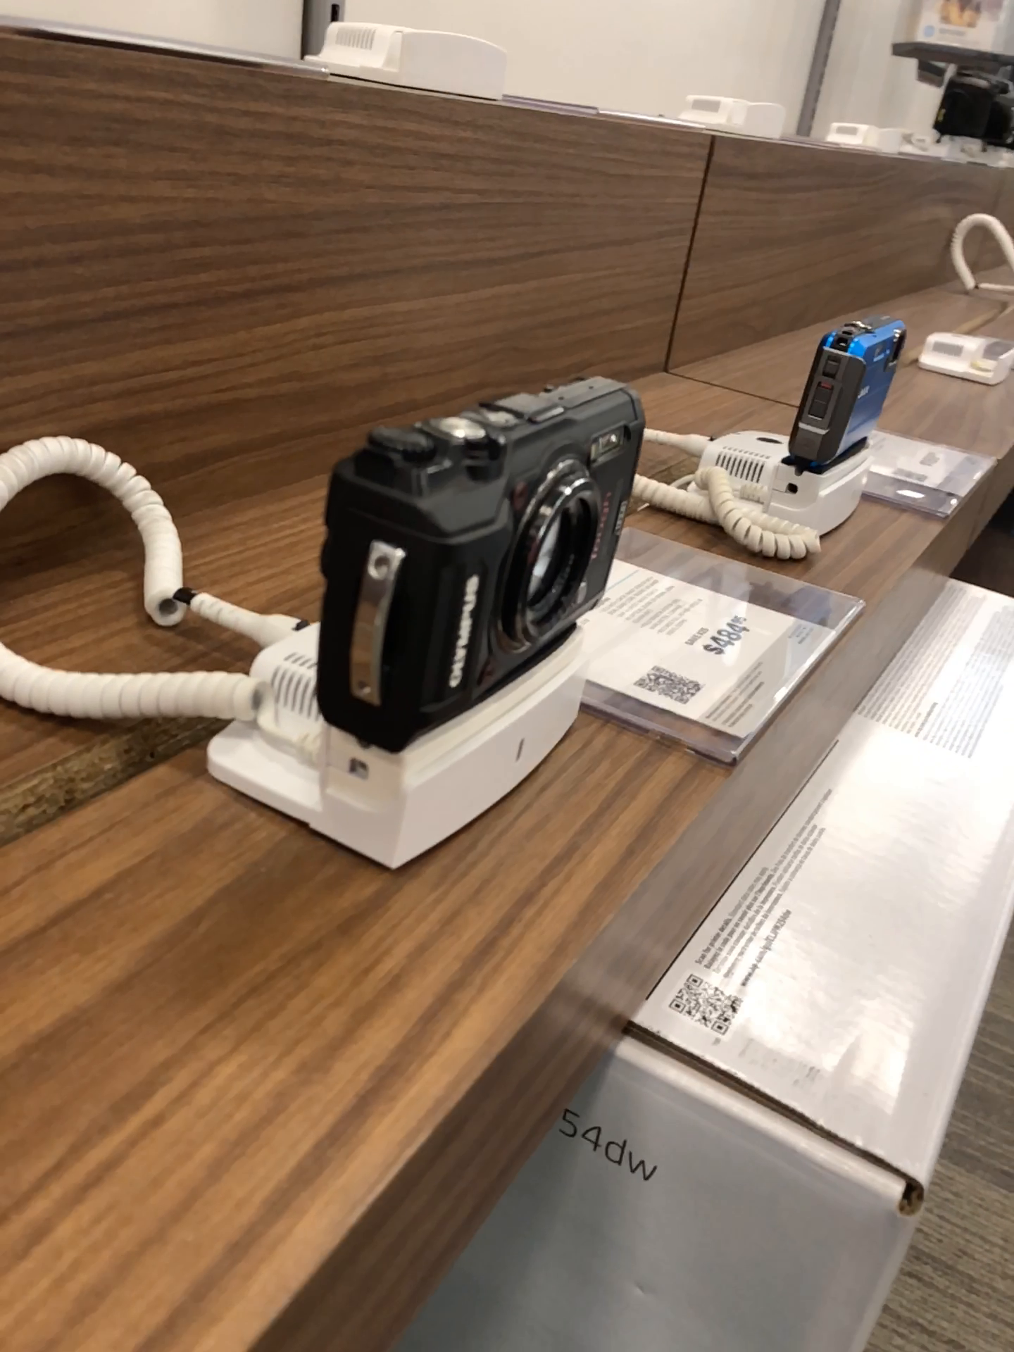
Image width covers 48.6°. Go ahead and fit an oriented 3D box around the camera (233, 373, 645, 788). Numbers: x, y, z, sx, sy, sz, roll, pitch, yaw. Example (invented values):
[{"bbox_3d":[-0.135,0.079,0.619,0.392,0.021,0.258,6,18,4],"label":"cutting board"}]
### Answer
[{"bbox_3d":[-0.010,-0.030,0.260,0.030,0.060,0.120,20,29,23],"label":"camera"}]
